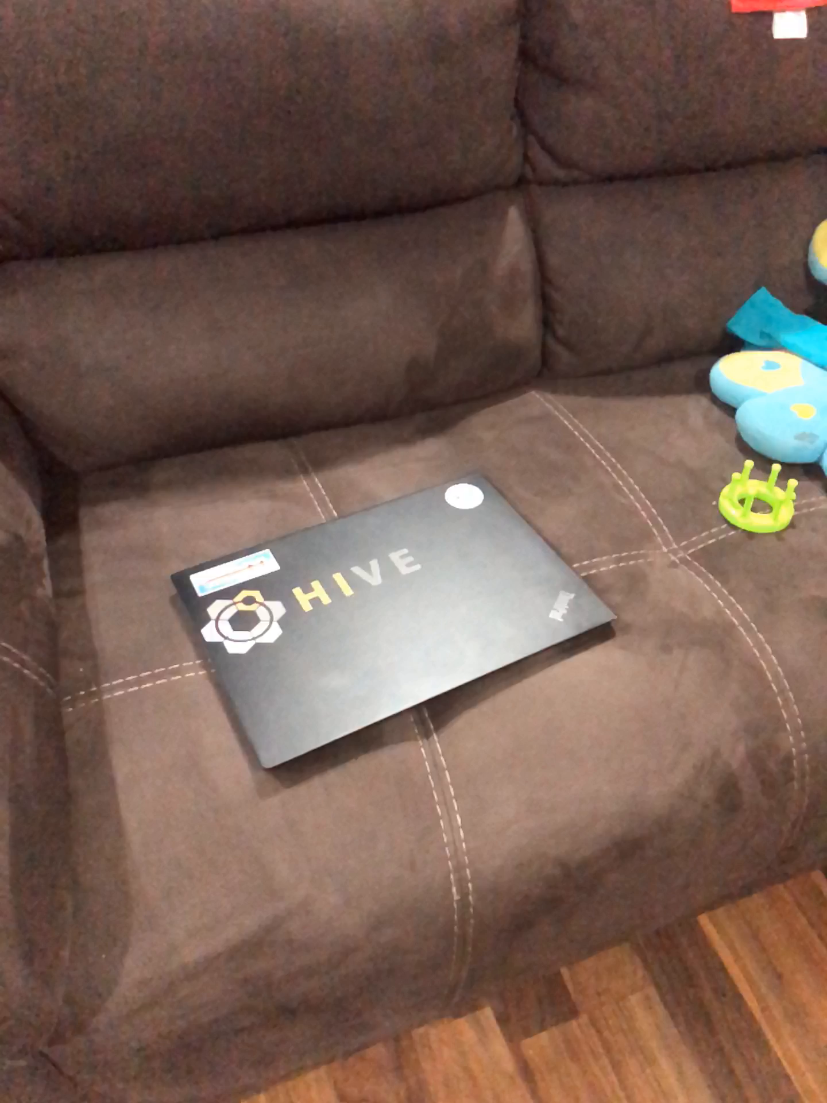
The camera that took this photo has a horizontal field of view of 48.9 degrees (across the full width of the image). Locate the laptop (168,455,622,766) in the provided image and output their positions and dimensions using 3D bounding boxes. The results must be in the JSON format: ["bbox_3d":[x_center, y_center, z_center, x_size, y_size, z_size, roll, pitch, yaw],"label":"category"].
[{"bbox_3d":[-0.023,0.032,0.808,0.328,0.019,0.236,-20,46,-19],"label":"laptop"}]
